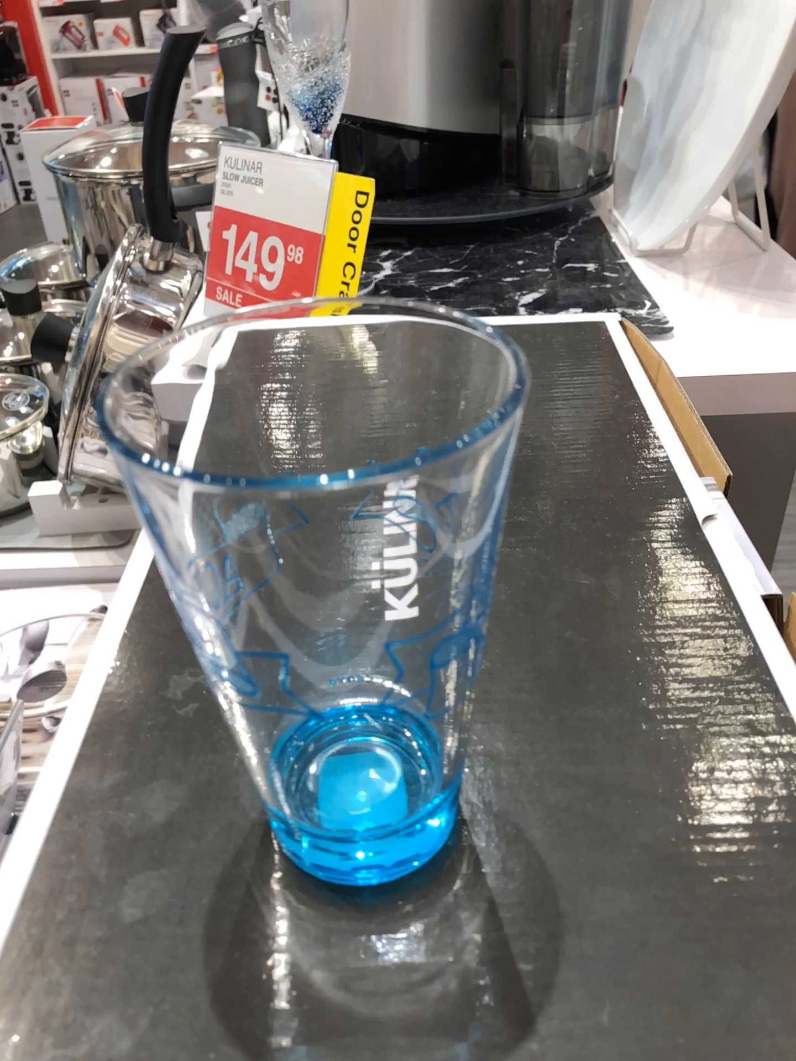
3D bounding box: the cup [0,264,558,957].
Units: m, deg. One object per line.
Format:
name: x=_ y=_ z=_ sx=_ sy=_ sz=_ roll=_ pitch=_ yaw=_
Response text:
cup: x=-0.017 y=0.012 z=0.191 sx=0.080 sy=0.110 sz=0.080 roll=-2 pitch=35 yaw=2
